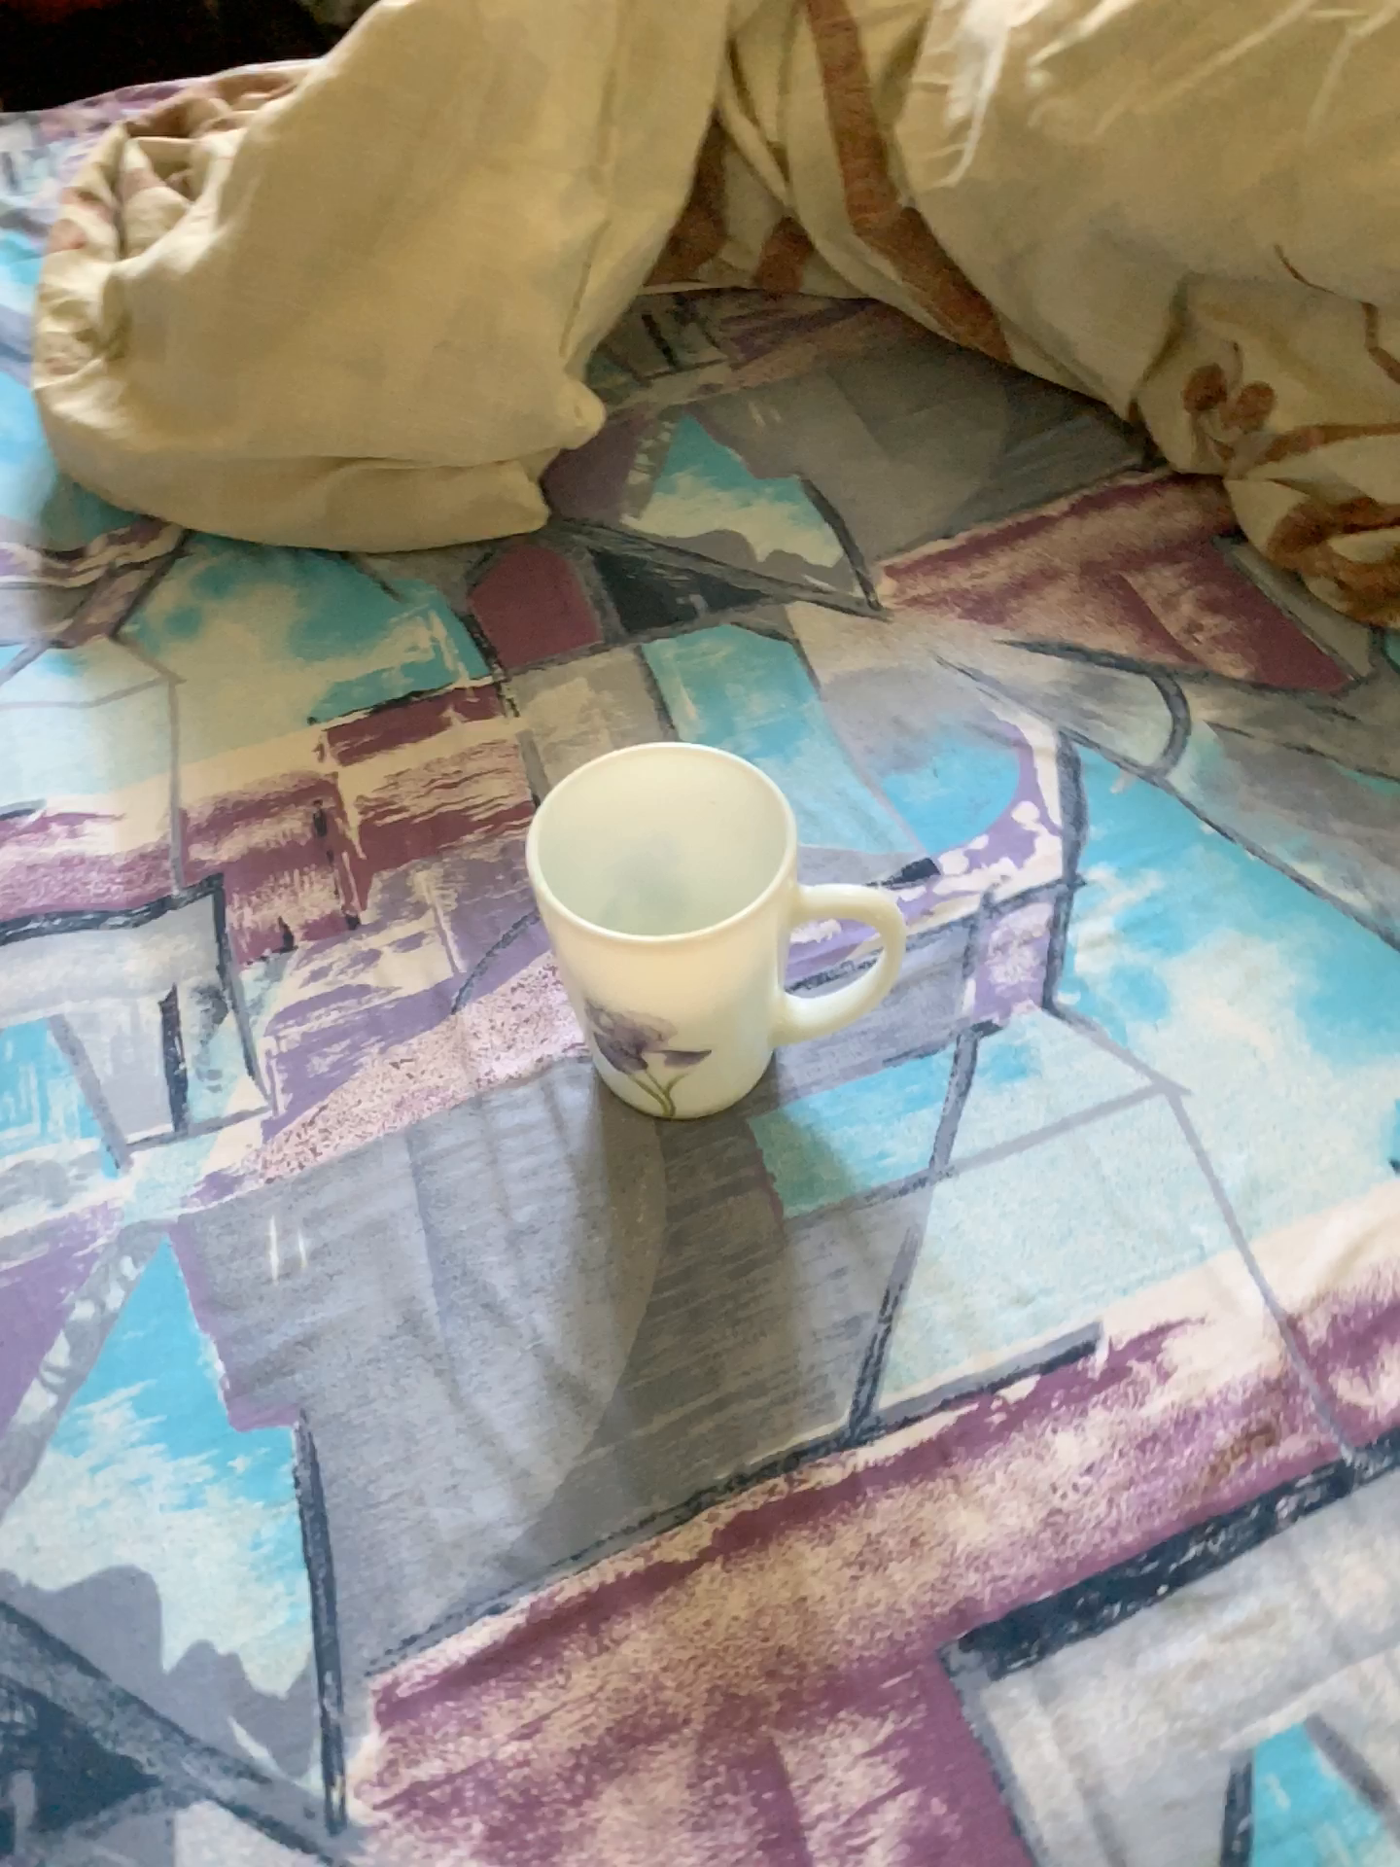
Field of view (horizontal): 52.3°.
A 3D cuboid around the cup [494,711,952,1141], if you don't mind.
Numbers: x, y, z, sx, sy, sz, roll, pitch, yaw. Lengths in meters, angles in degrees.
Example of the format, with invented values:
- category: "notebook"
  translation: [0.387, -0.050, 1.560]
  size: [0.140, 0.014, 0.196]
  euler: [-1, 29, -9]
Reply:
- category: "cup"
  translation: [0.012, -0.001, 0.442]
  size: [0.120, 0.099, 0.081]
  euler: [4, 52, 8]
